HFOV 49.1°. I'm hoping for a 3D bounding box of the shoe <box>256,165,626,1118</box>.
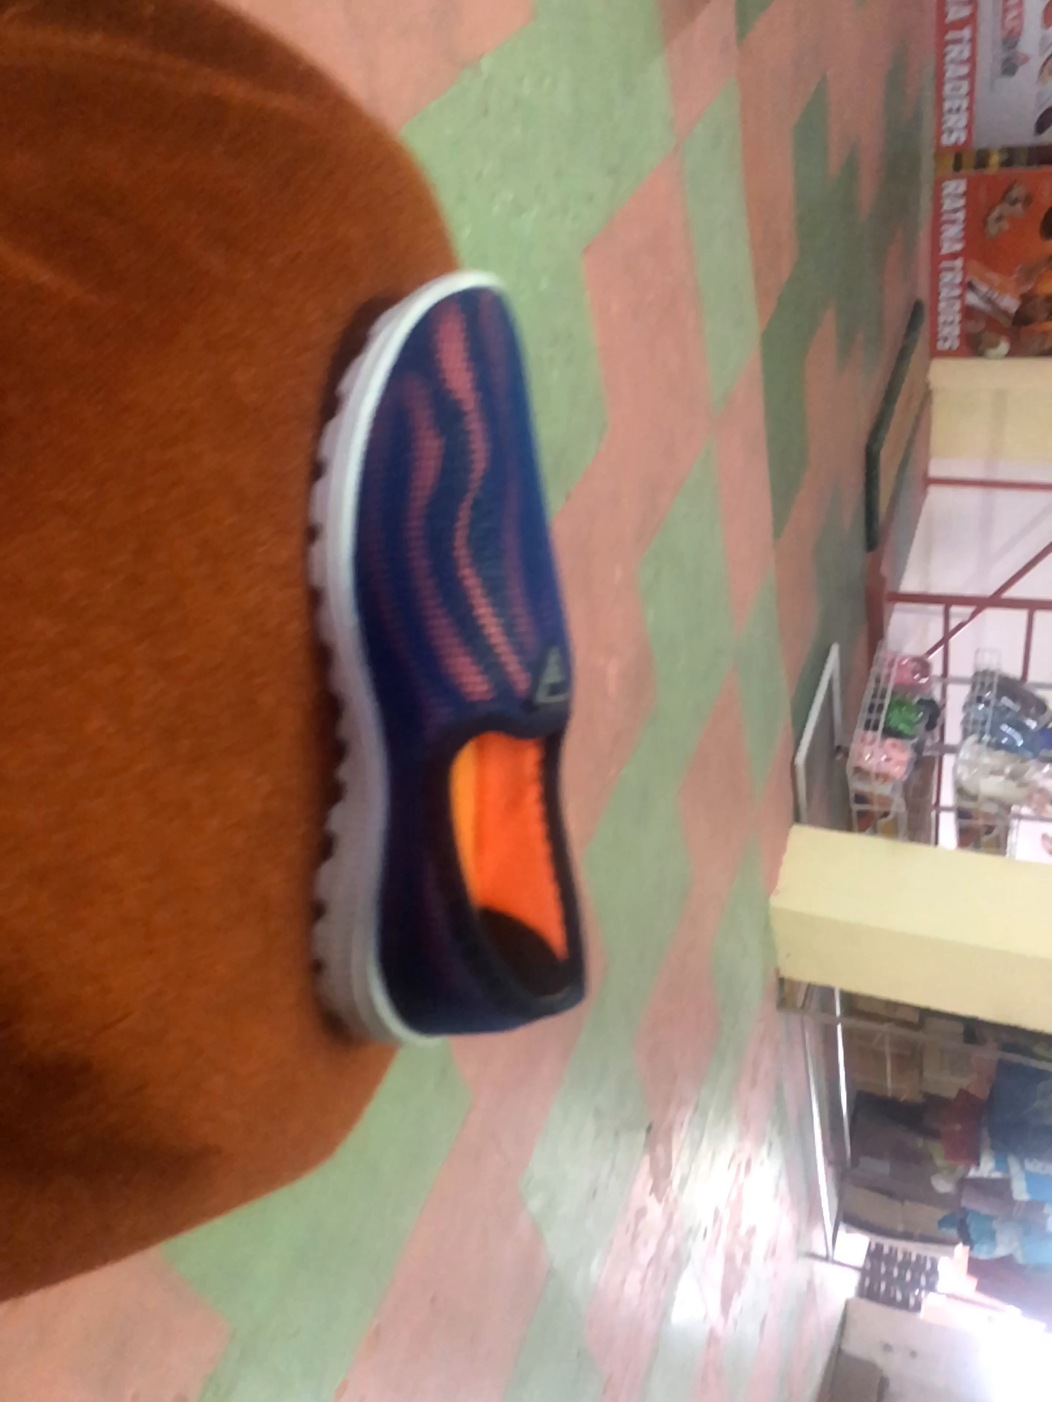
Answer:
[{"bbox_3d":[-0.026,-0.017,0.367,0.091,0.070,0.260,-14,109,-65],"label":"shoe"}]
